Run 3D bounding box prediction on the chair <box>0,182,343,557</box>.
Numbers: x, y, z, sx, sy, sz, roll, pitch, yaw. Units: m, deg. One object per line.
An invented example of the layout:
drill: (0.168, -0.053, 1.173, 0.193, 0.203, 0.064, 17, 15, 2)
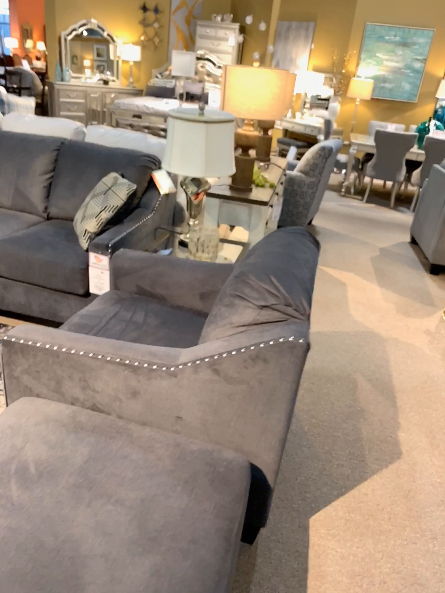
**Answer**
chair: (-0.128, 0.151, 1.725, 0.957, 0.840, 0.924, 11, 26, 9)
